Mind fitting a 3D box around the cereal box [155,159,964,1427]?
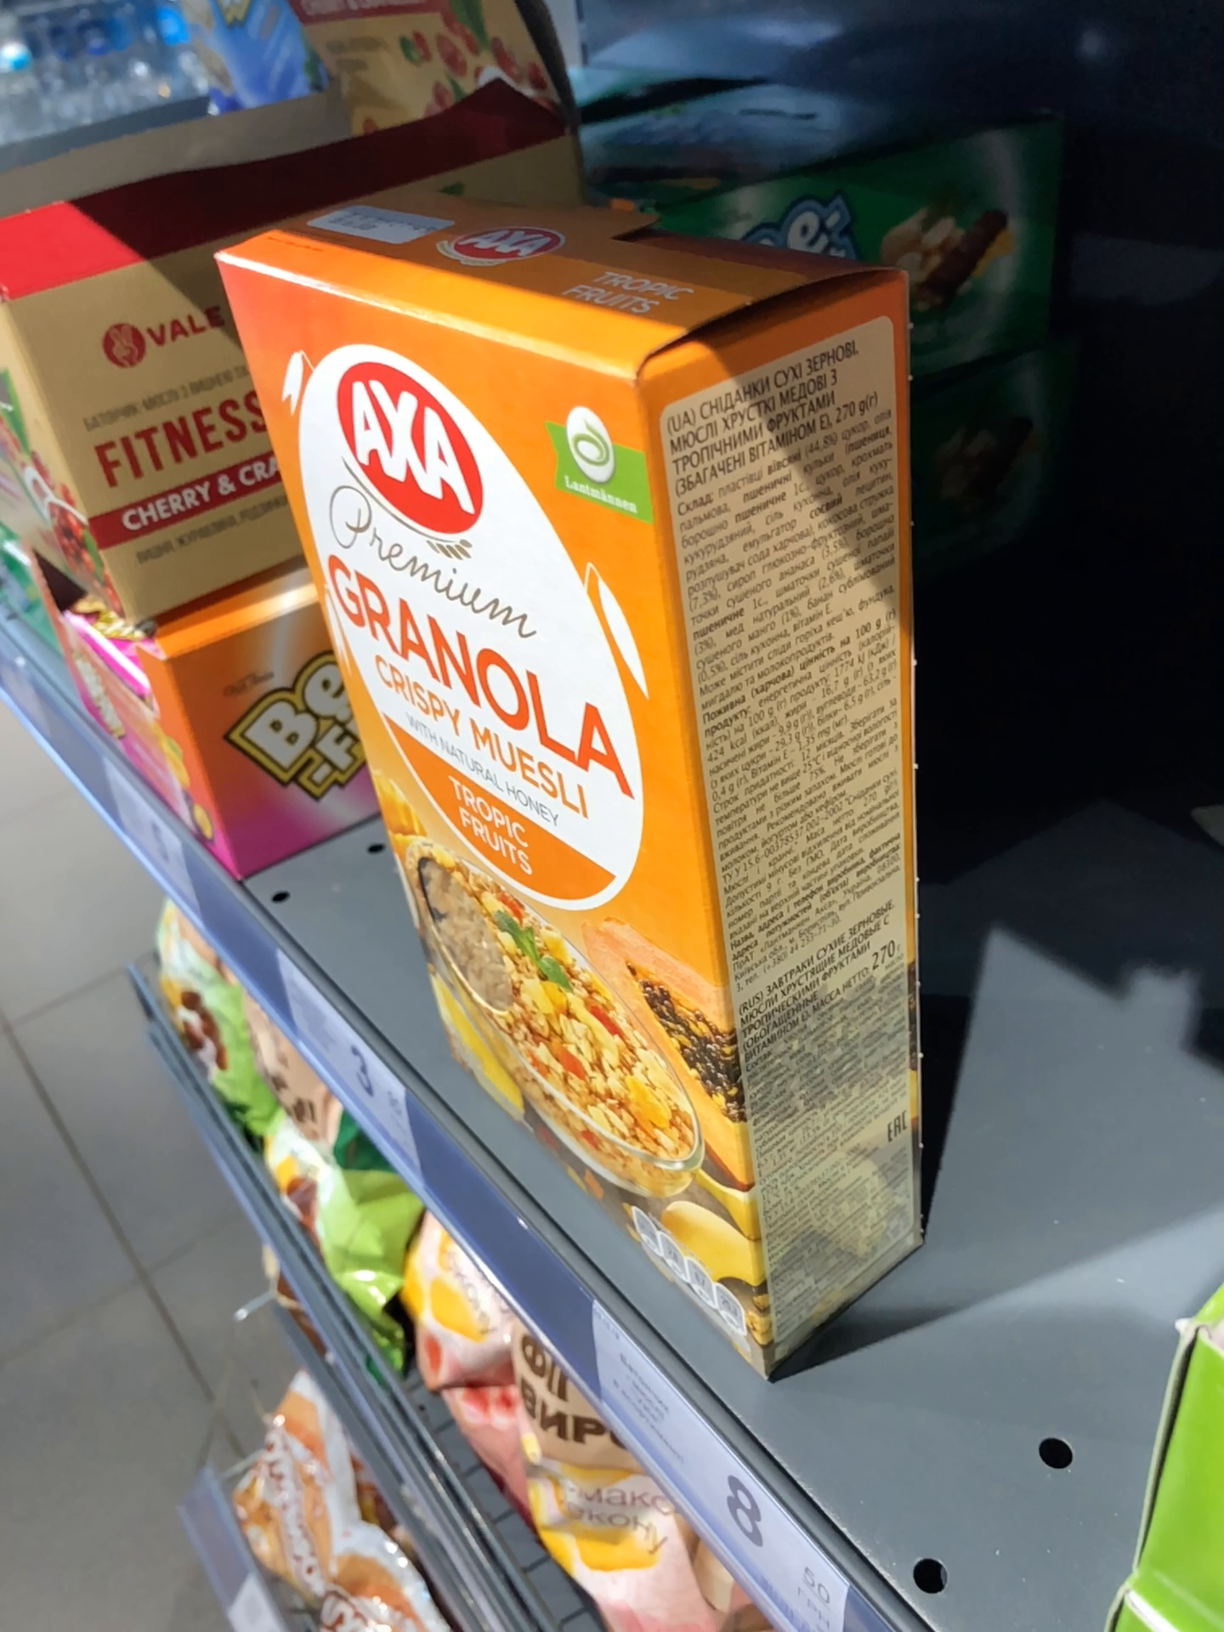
[{"bbox_3d":[-0.004,-0.004,0.265,0.050,0.208,0.141,-30,40,-25],"label":"cereal box"}]
